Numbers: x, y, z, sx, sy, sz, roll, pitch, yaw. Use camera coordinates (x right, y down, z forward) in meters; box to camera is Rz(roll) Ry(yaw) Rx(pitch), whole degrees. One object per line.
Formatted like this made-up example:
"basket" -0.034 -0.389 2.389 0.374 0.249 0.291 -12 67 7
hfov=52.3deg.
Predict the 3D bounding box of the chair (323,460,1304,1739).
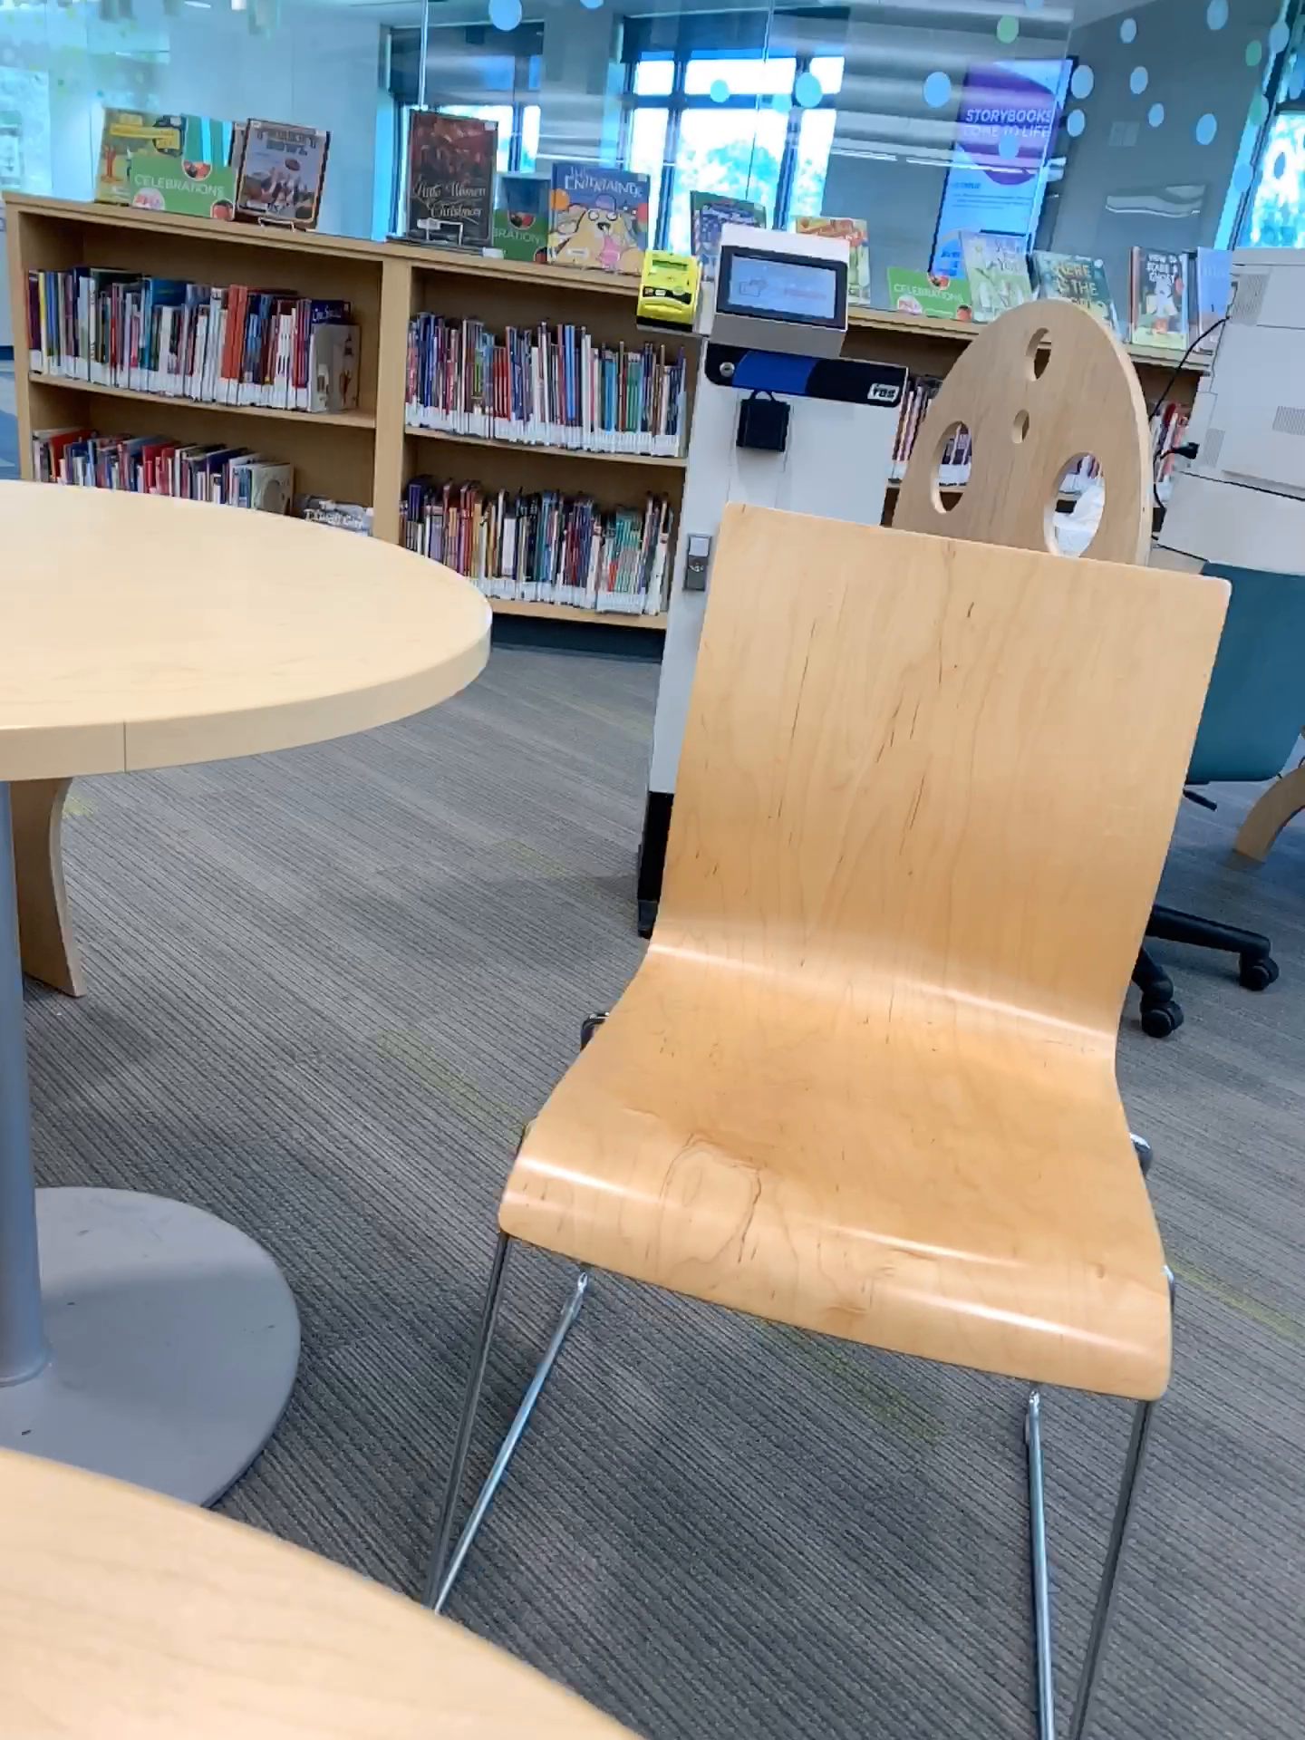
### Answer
"chair" 0.149 0.164 1.029 0.560 0.807 0.623 11 22 7
